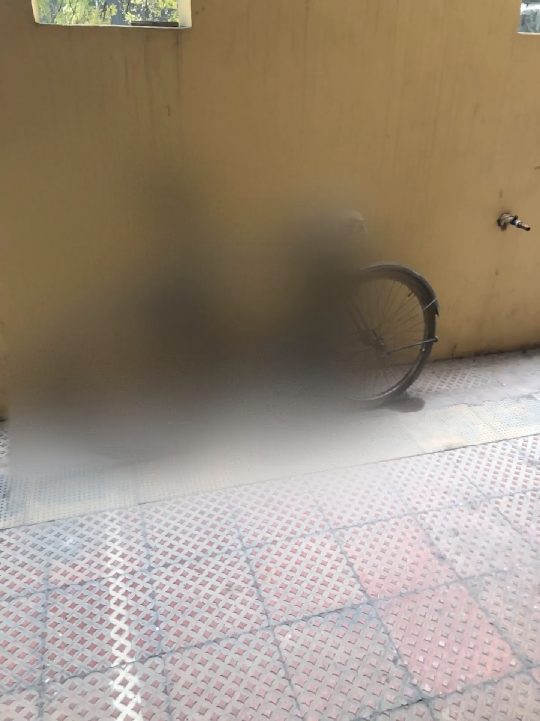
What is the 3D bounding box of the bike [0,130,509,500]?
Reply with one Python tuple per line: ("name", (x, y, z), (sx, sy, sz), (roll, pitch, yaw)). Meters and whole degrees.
("bike", (0.008, -0.229, 2.105), (1.546, 0.999, 0.544), (-8, 28, -22))
